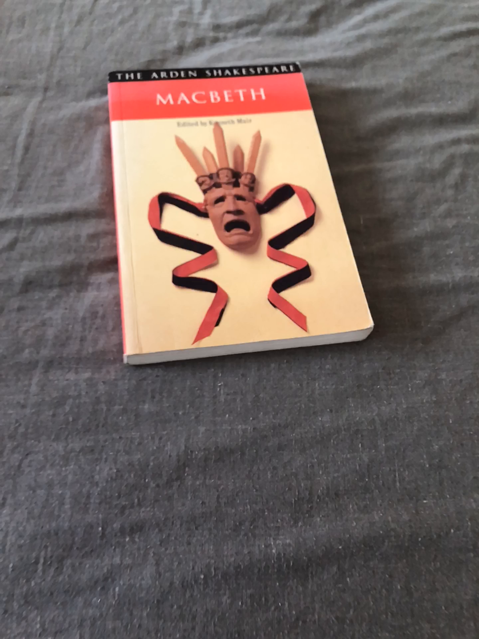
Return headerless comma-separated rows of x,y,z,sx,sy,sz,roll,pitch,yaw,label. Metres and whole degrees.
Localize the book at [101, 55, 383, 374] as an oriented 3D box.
-0.009,-0.073,0.307,0.130,0.020,0.201,-6,63,-6,book
